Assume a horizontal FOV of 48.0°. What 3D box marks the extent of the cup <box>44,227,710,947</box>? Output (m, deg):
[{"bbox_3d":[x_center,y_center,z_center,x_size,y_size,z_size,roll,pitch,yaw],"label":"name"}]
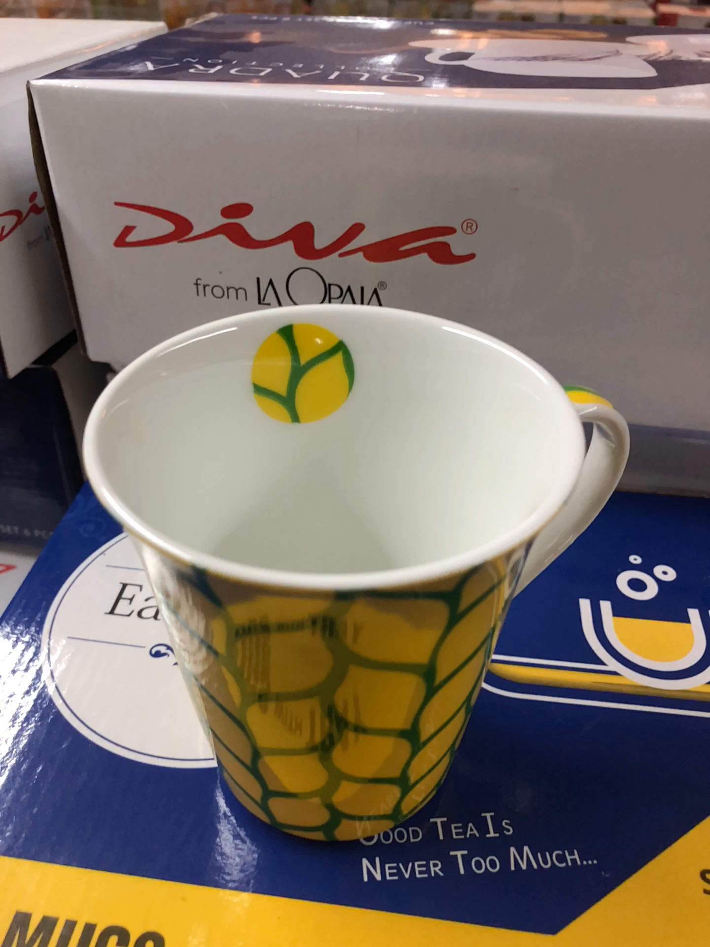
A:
[{"bbox_3d":[0.010,0.014,0.170,0.110,0.089,0.080,-21,42,-25],"label":"cup"}]
